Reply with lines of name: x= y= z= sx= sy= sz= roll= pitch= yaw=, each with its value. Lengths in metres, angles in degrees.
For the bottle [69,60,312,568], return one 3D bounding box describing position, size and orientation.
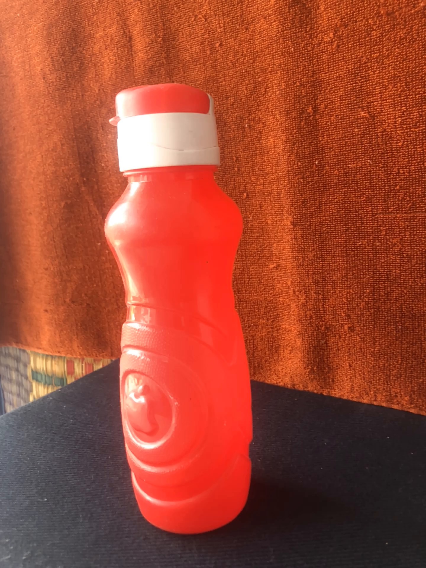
bottle: x=-0.006 y=0.016 z=0.242 sx=0.080 sy=0.219 sz=0.070 roll=9 pitch=18 yaw=43
